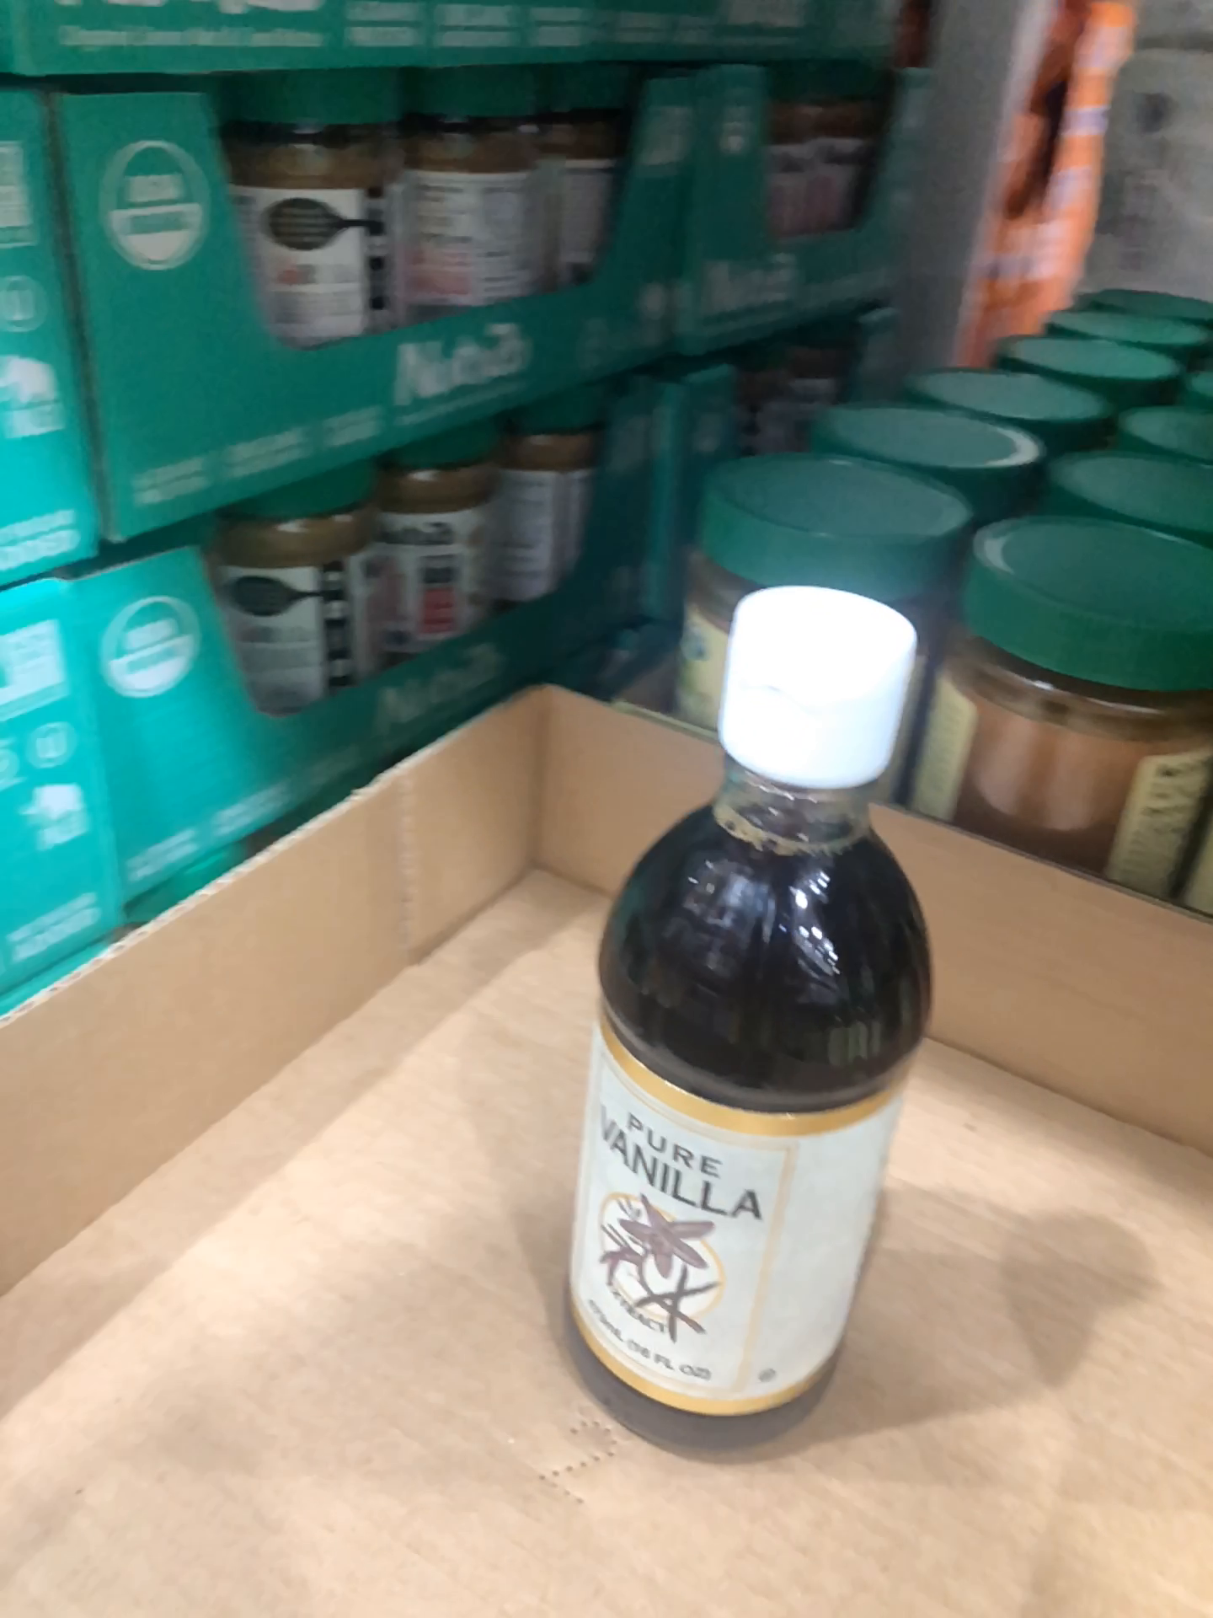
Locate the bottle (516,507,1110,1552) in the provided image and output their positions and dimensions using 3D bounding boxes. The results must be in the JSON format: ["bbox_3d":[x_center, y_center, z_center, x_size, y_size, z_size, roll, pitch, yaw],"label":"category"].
[{"bbox_3d":[0.034,0.050,0.282,0.070,0.199,0.070,3,31,-2],"label":"bottle"}]
